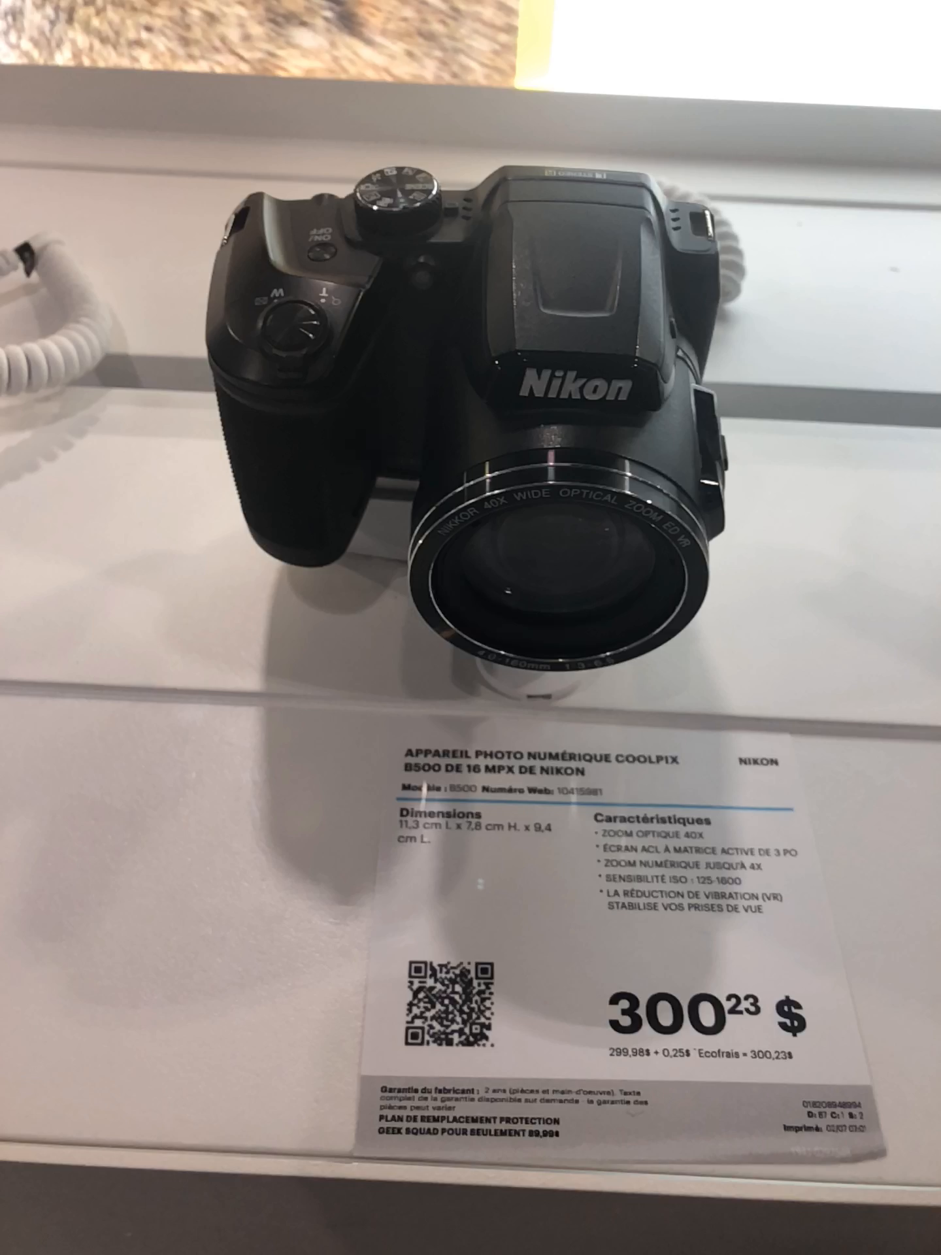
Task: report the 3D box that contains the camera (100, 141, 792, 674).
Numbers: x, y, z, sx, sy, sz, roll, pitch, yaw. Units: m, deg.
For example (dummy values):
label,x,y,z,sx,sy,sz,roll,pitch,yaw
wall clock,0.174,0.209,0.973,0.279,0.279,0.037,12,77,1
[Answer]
label,x,y,z,sx,sy,sz,roll,pitch,yaw
camera,-0.003,-0.047,0.222,0.111,0.069,0.085,2,48,0
